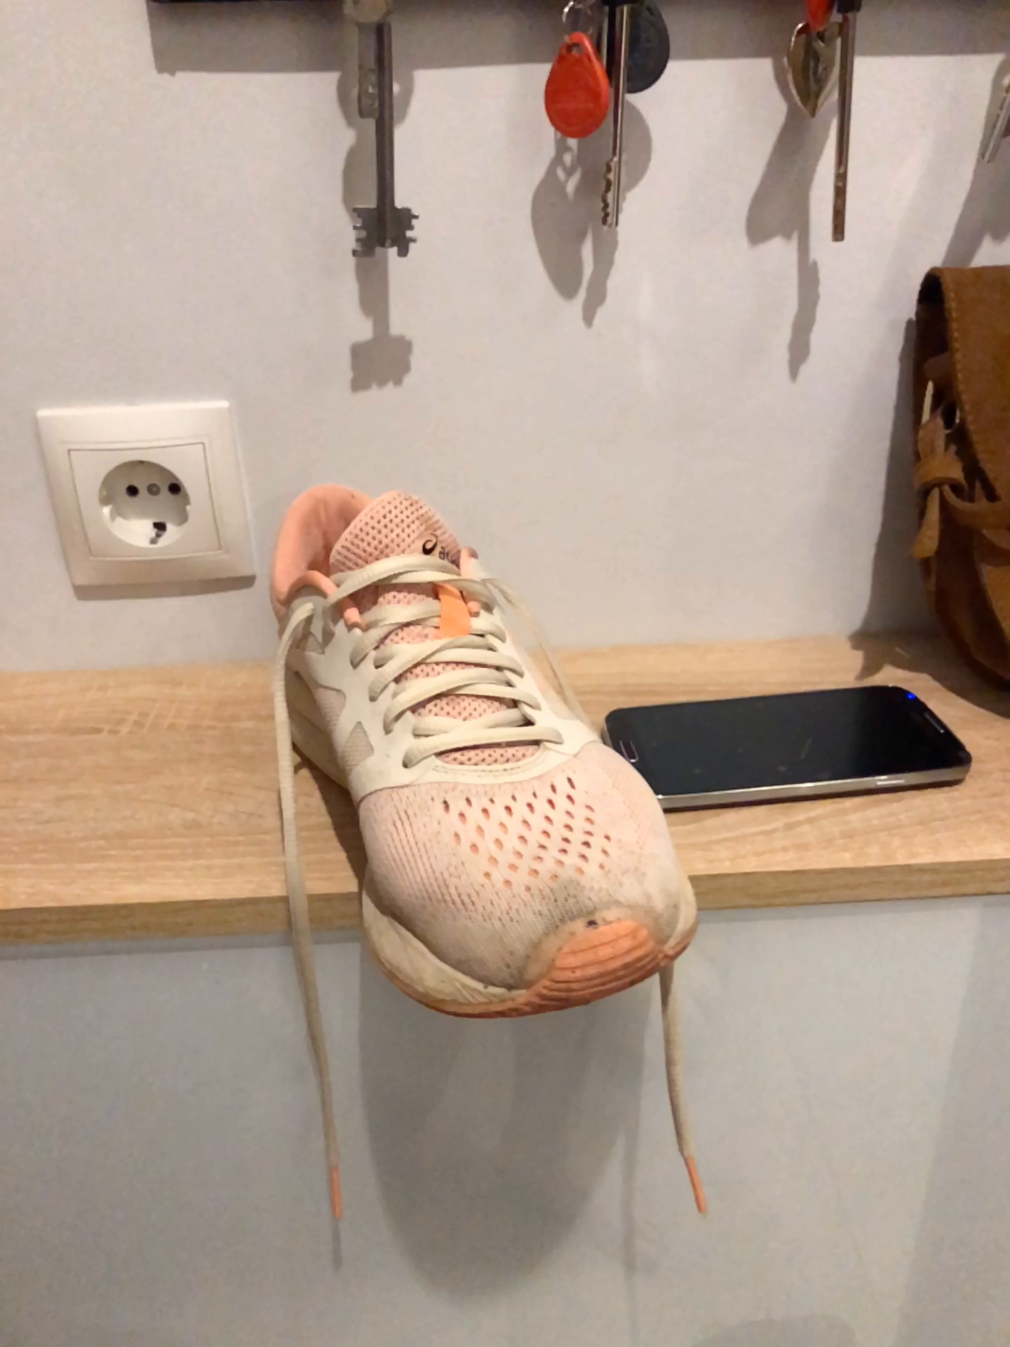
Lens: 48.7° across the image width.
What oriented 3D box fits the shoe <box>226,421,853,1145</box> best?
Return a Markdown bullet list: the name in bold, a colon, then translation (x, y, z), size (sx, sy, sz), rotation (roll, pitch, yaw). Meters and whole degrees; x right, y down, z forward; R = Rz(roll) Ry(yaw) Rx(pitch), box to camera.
- **shoe**: translation (-0.014, 0.004, 0.385), size (0.110, 0.103, 0.269), rotation (-12, 29, -17)
